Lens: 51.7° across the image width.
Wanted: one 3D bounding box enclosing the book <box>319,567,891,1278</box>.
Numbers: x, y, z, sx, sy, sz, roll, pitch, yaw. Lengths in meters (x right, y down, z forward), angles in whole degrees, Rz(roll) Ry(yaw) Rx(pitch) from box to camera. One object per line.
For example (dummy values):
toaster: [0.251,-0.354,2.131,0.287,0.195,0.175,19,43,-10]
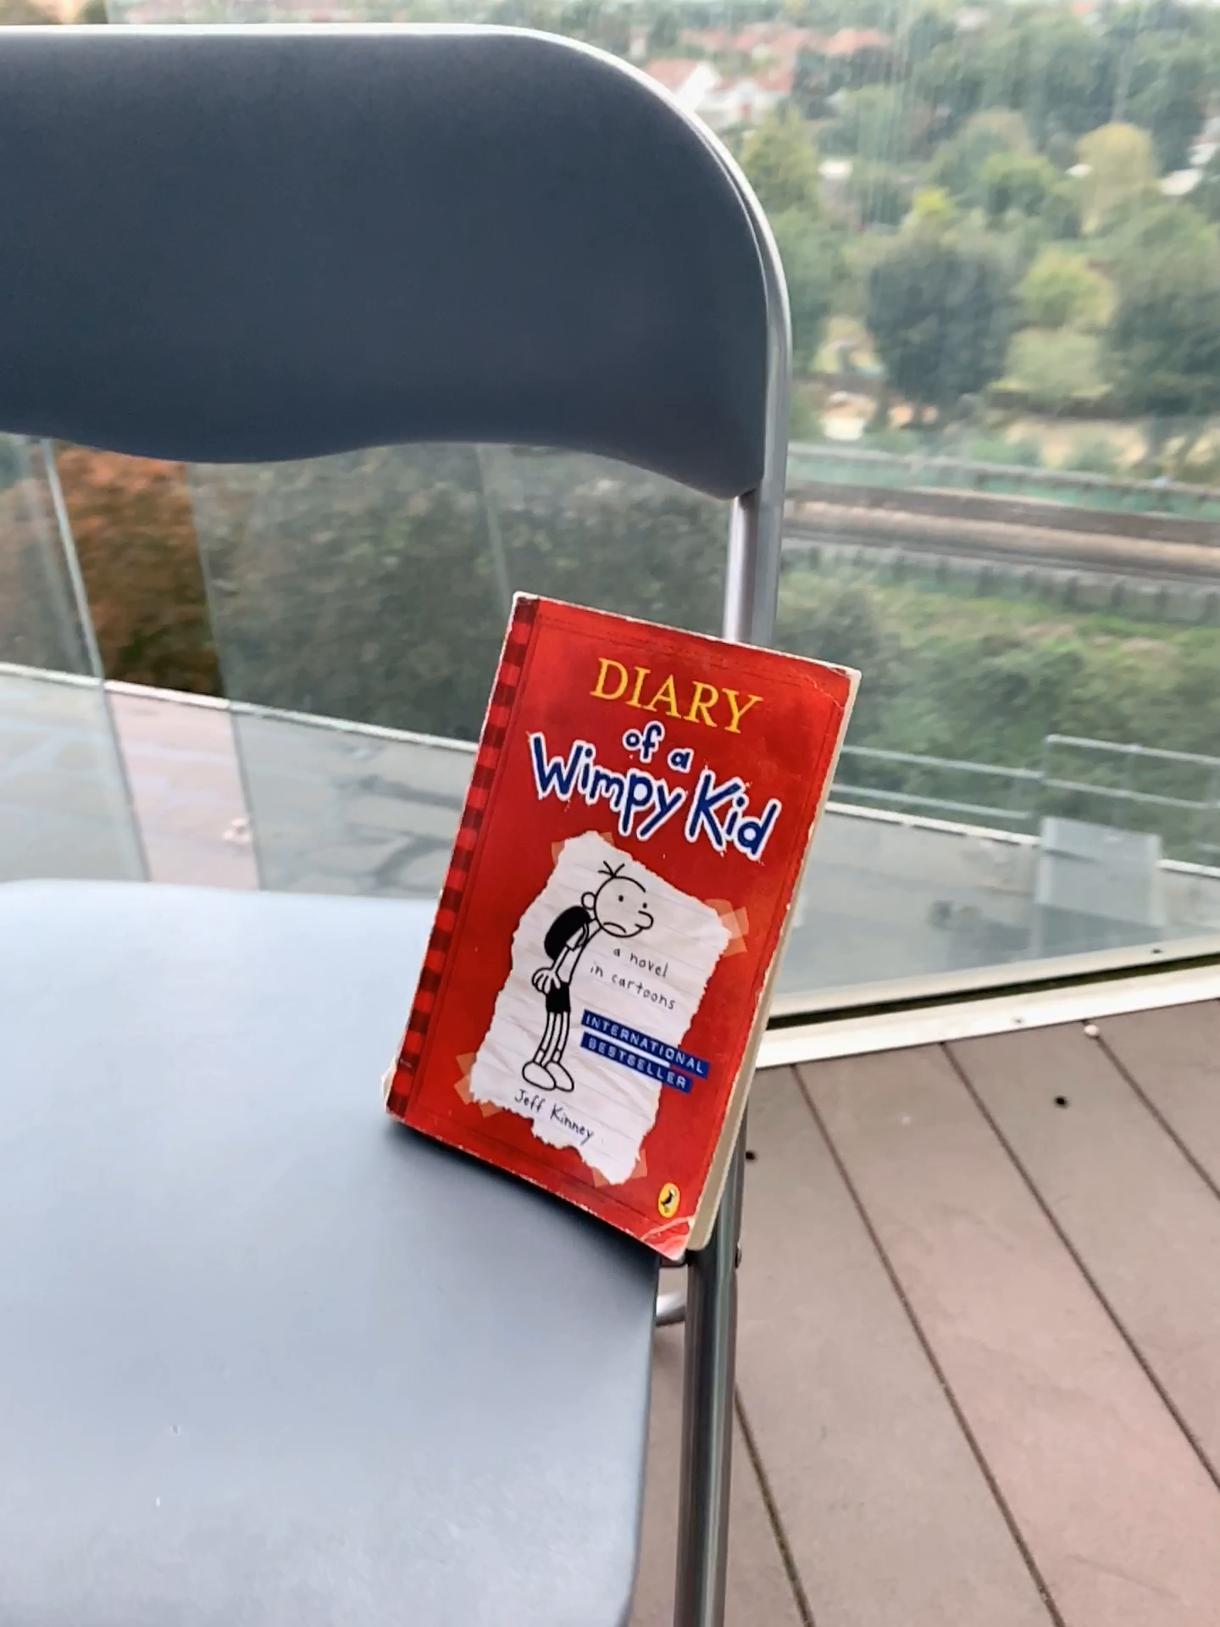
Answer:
book: [-0.006,0.030,0.440,0.150,0.200,0.040,17,4,25]
